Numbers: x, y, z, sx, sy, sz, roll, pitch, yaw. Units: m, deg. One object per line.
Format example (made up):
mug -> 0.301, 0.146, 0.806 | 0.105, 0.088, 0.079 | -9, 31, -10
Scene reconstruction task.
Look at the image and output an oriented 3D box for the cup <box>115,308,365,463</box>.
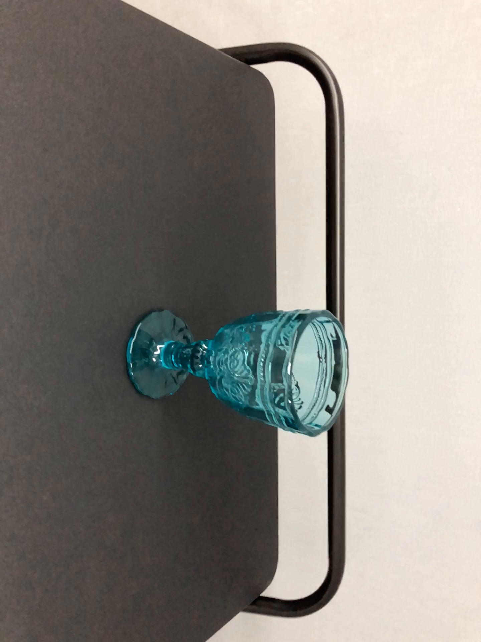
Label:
cup -> -0.003, 0.037, 0.405 | 0.096, 0.164, 0.085 | -5, 97, -54
